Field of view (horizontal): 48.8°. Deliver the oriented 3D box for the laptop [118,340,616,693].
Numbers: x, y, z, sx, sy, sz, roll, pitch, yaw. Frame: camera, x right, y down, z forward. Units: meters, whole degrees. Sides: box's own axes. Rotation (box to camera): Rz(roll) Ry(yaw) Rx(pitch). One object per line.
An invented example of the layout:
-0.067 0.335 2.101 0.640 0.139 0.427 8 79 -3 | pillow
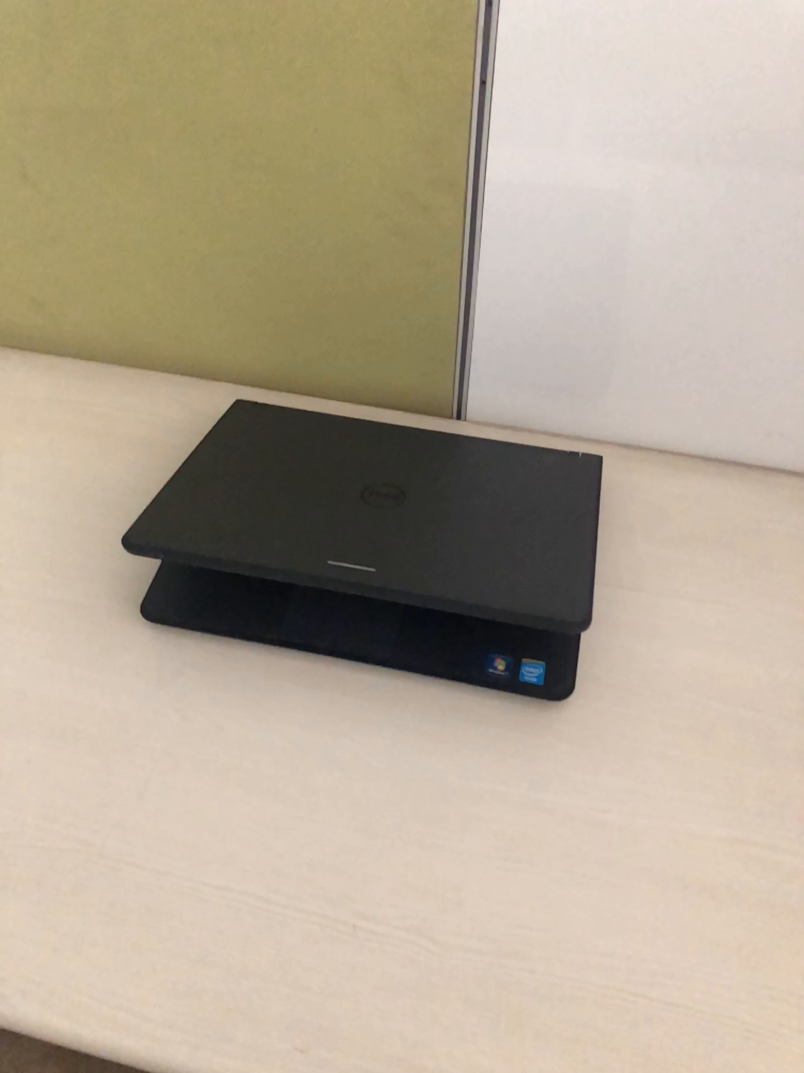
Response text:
-0.012 -0.029 0.682 0.322 0.072 0.230 10 51 8 | laptop
